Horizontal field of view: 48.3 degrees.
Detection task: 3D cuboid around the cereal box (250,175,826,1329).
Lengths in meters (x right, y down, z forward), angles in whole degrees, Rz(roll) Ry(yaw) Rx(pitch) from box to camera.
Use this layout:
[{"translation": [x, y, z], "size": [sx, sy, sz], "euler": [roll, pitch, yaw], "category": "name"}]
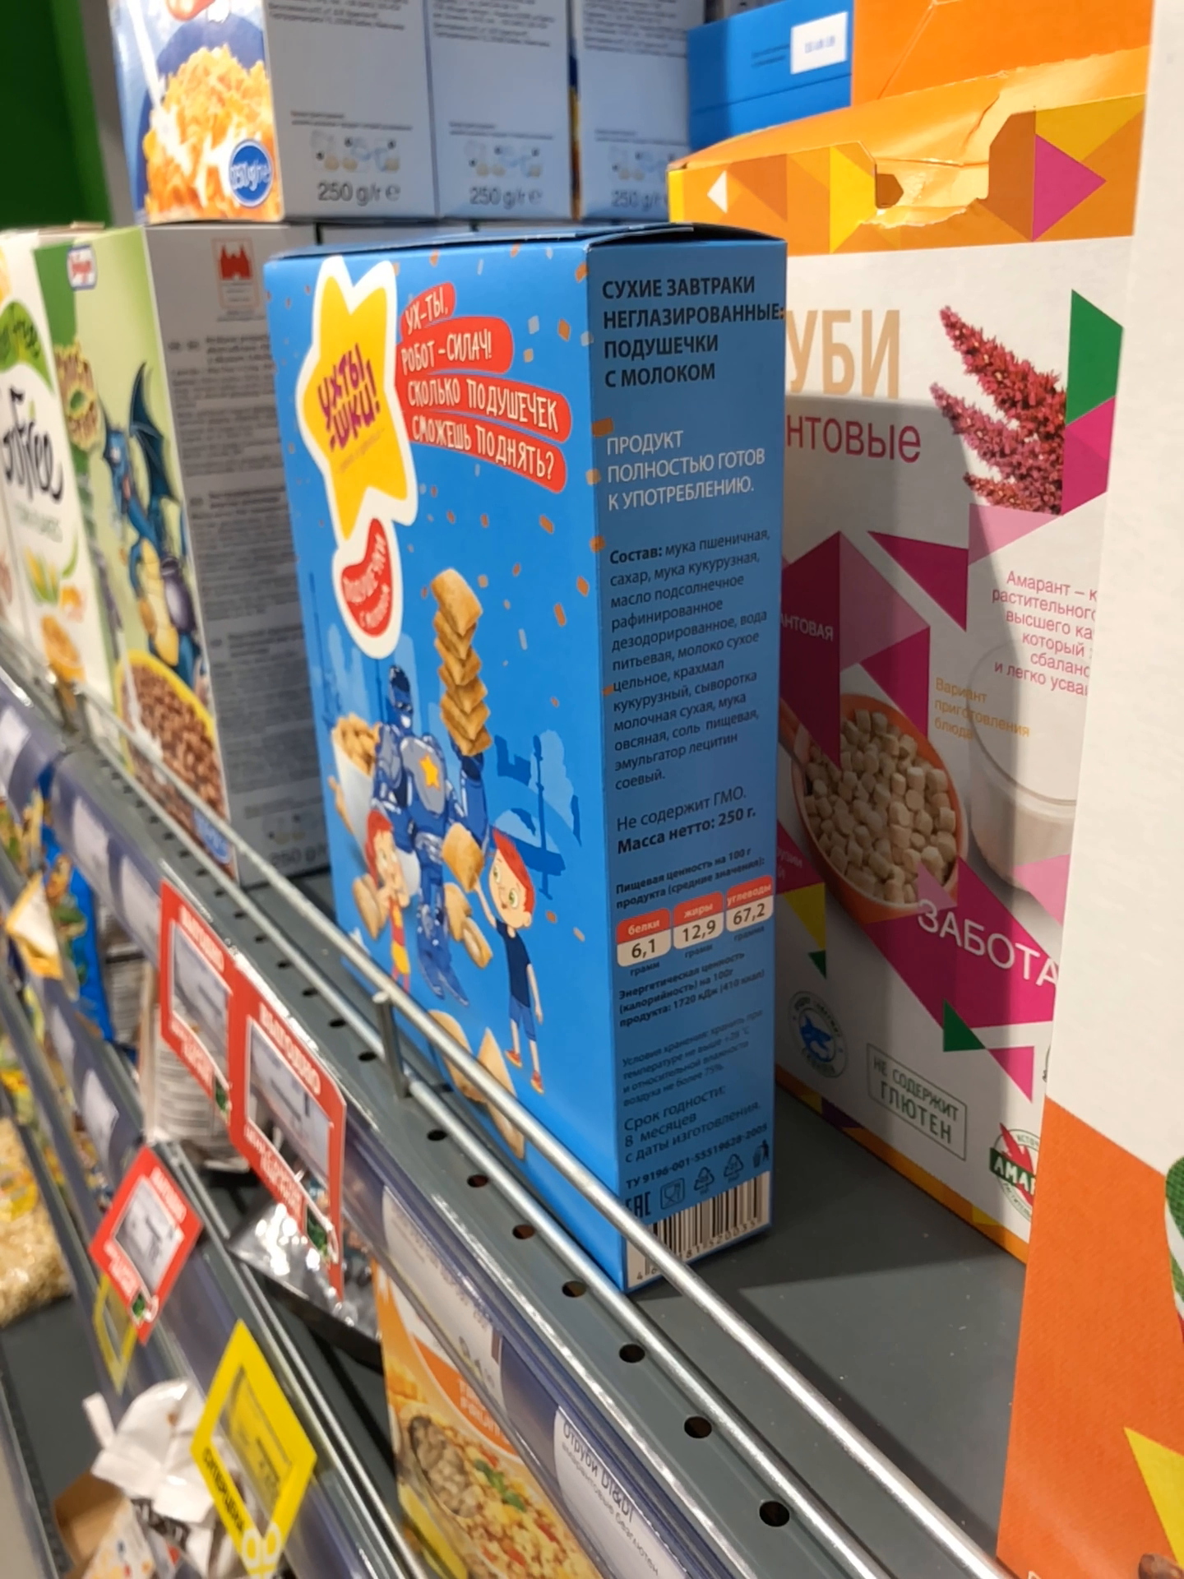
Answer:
[{"translation": [-0.023, -0.024, 0.352], "size": [0.050, 0.239, 0.201], "euler": [-13, 23, -27], "category": "cereal box"}]
